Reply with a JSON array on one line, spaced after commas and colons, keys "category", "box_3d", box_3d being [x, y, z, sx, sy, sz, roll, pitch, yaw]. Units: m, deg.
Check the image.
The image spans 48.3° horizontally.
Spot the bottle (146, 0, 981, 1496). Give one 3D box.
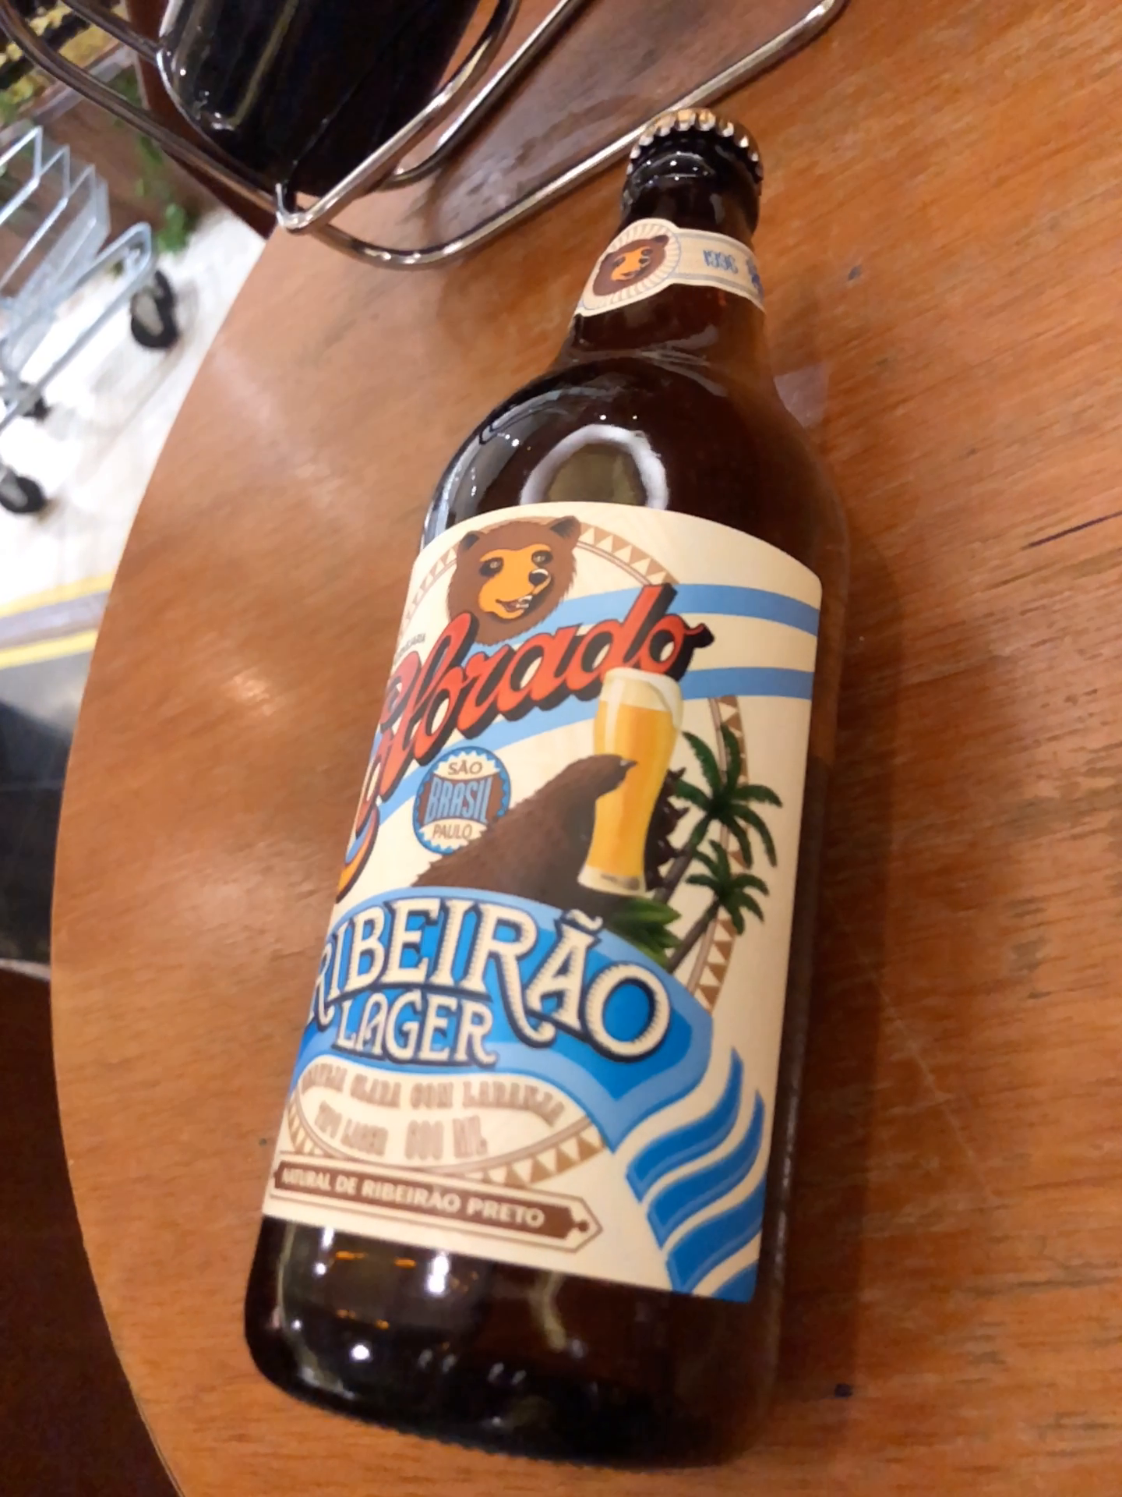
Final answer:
[{"category": "bottle", "box_3d": [0.014, -0.024, 0.221, 0.090, 0.060, 0.260, -9, 62, 39]}]
